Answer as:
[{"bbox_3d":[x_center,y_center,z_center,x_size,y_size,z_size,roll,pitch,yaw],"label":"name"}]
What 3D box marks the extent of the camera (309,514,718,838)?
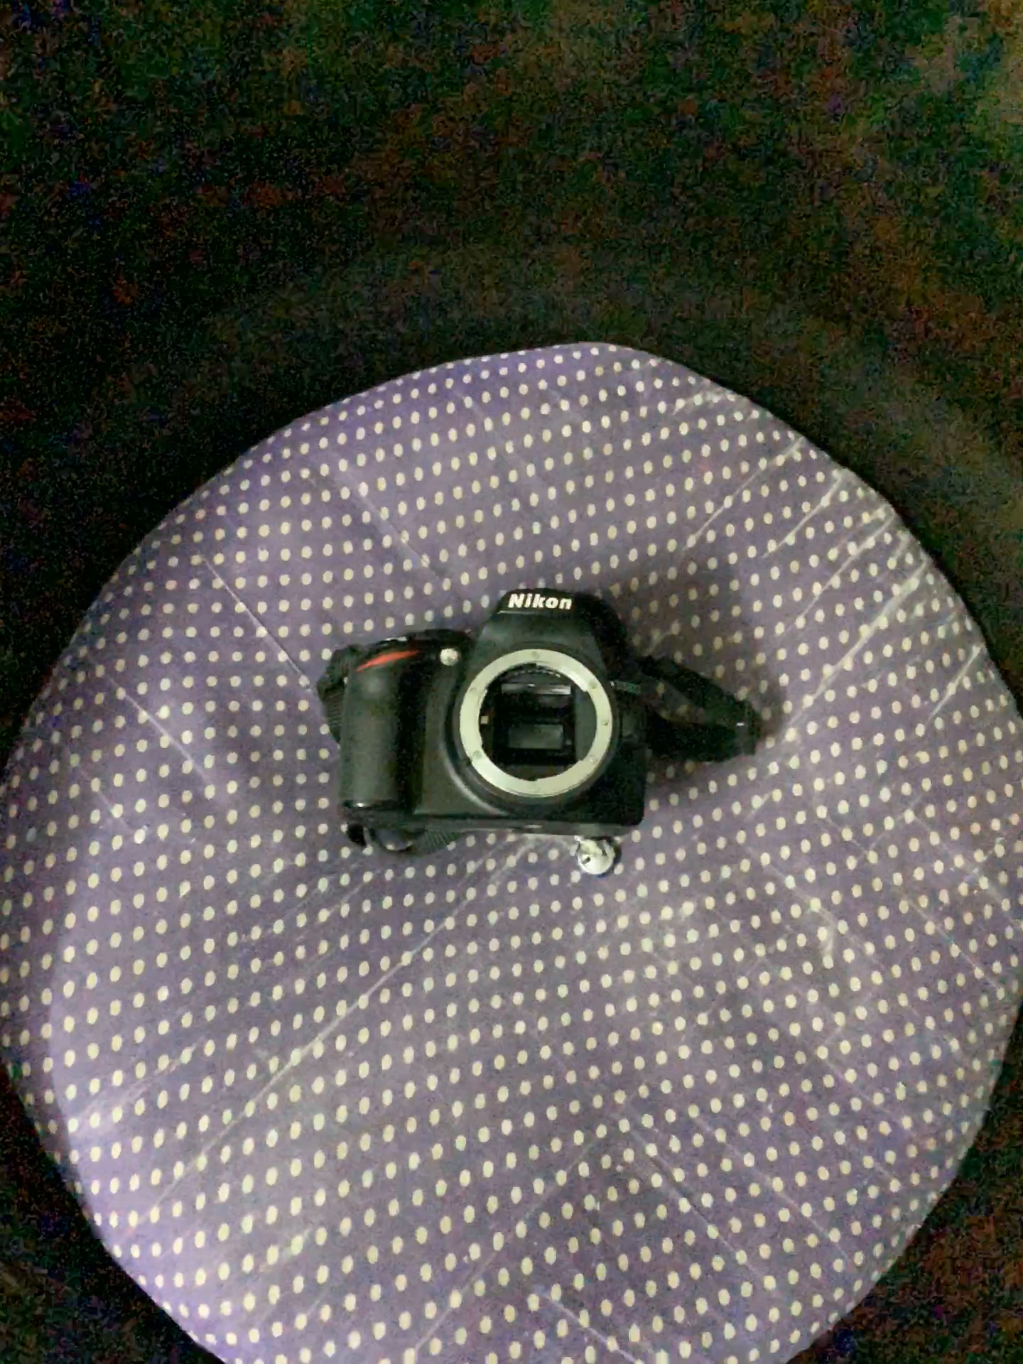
[{"bbox_3d":[-0.001,0.002,0.411,0.140,0.080,0.110,0,77,-2],"label":"camera"}]
